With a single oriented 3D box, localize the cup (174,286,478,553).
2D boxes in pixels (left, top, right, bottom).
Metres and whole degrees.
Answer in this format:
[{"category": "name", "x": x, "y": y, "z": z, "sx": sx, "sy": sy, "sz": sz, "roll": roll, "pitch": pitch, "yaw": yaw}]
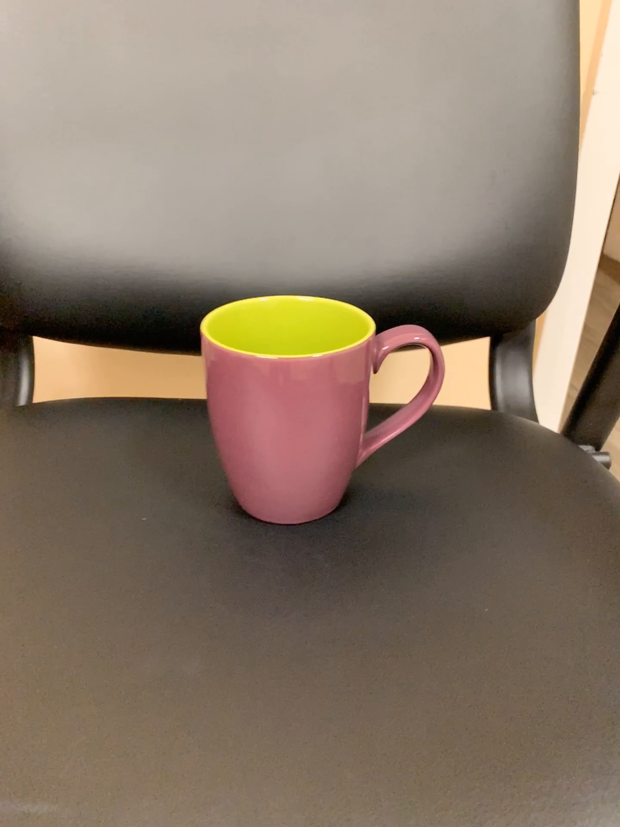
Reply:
[{"category": "cup", "x": 0.002, "y": -0.002, "z": 0.363, "sx": 0.143, "sy": 0.109, "sz": 0.090, "roll": -5, "pitch": 30, "yaw": -11}]
